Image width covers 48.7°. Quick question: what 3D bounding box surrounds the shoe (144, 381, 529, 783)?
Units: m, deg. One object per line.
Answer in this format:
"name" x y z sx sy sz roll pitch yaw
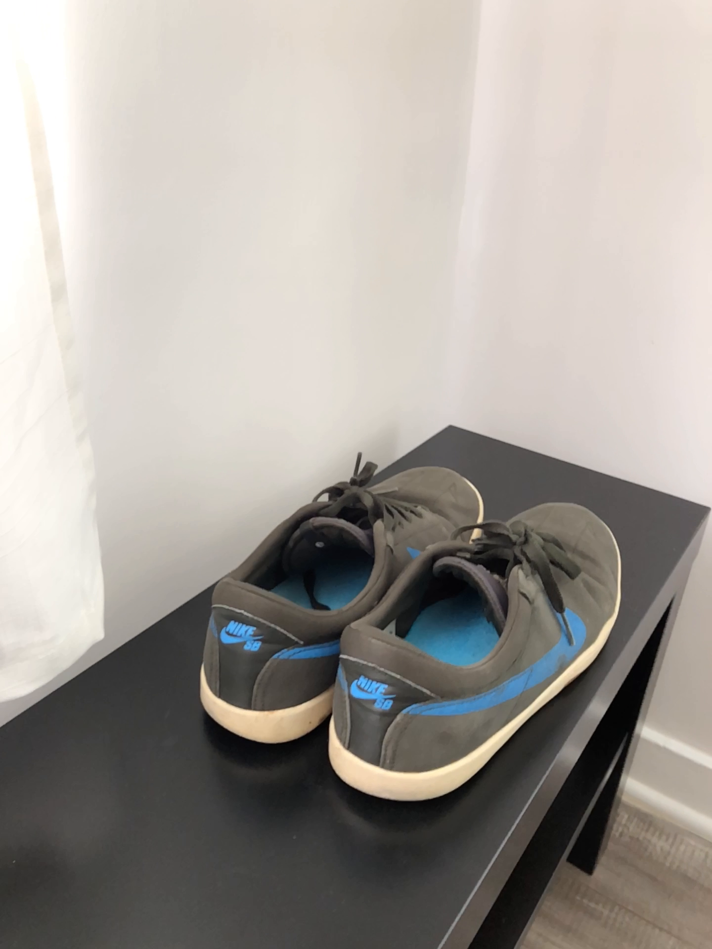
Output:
"shoe" 0.006 0.044 0.511 0.100 0.110 0.281 19 32 27

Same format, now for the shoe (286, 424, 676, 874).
"shoe" 0.088 0.077 0.478 0.100 0.110 0.281 22 34 30
